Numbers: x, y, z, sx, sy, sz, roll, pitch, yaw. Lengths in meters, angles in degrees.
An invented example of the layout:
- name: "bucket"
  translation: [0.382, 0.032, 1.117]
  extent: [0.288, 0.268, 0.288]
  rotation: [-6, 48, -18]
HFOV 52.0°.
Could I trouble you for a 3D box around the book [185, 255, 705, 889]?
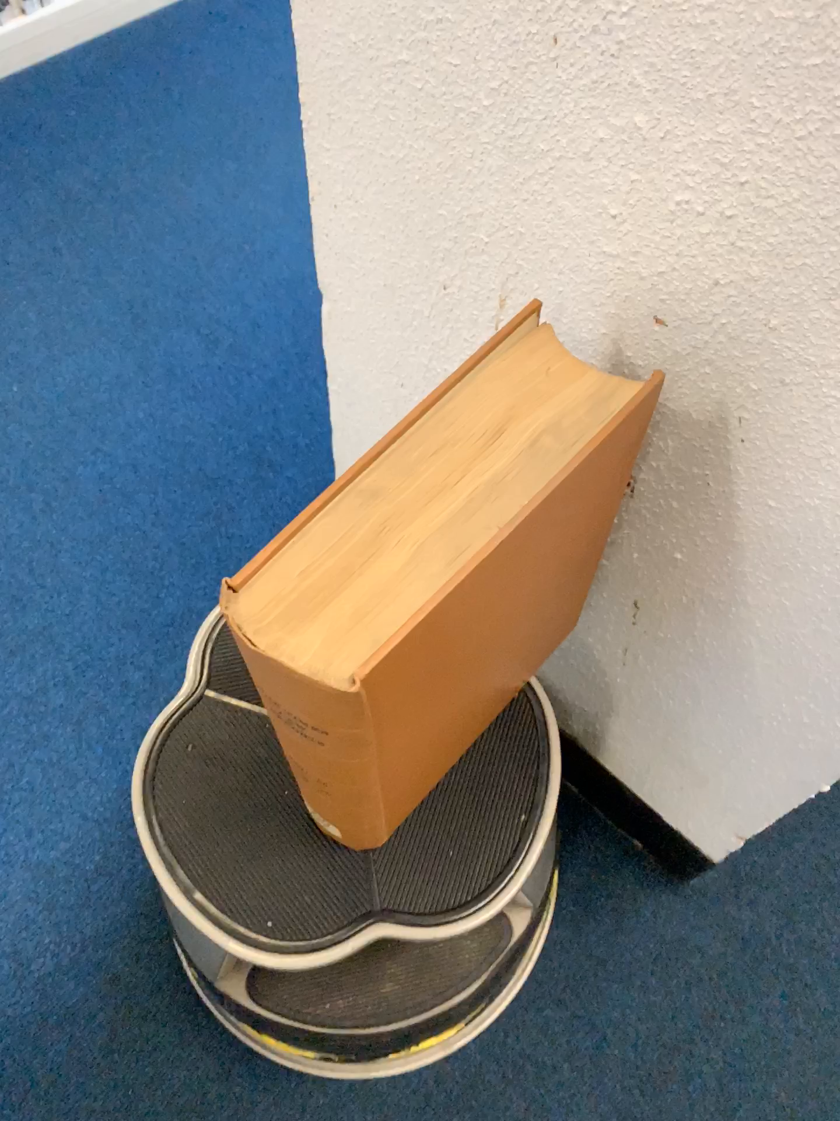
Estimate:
- name: "book"
  translation: [0.014, 0.038, 0.493]
  extent: [0.090, 0.338, 0.221]
  rotation: [37, 65, 18]
